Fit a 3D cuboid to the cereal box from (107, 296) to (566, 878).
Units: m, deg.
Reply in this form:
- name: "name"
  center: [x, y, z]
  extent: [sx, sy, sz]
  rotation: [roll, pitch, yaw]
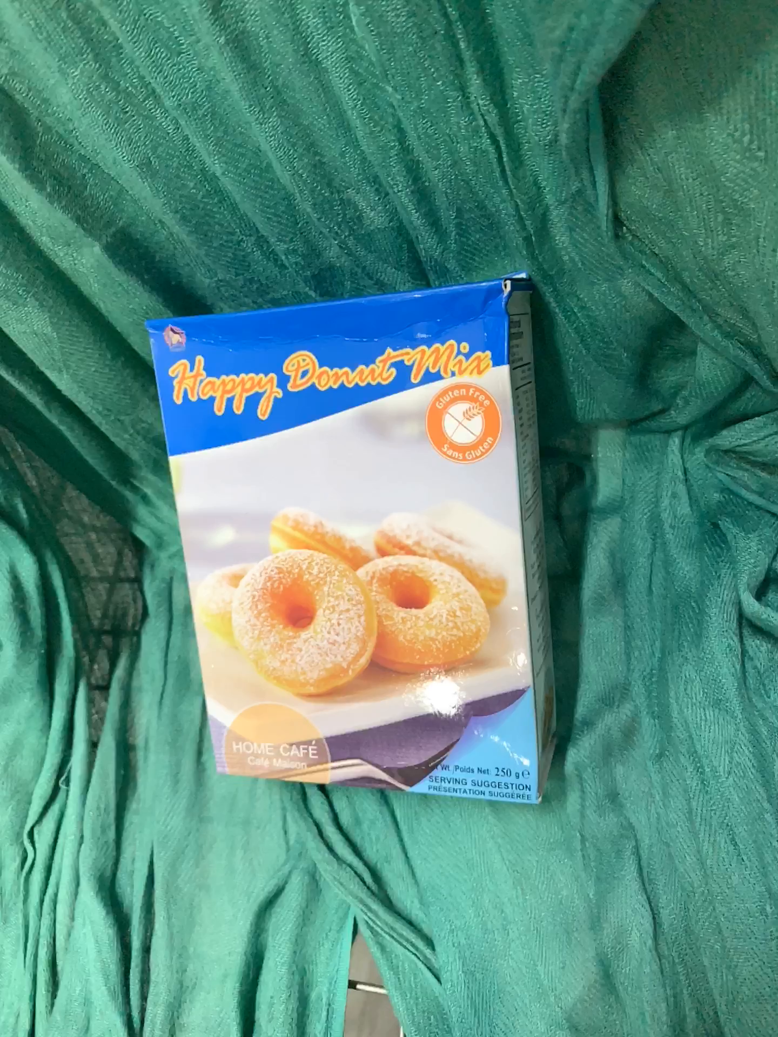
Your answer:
- name: "cereal box"
  center: [-0.011, 0.022, 0.285]
  extent: [0.130, 0.060, 0.180]
  rotation: [-2, 103, 18]
